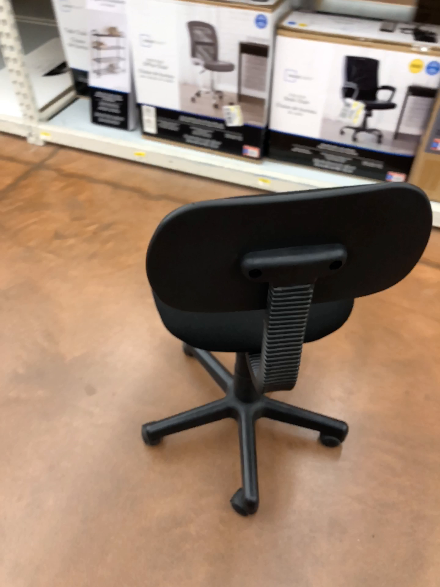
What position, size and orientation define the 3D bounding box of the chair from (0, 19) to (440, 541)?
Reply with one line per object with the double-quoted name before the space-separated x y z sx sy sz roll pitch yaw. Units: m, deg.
"chair" 0.008 -0.017 1.021 0.670 0.797 0.662 -5 45 -5
